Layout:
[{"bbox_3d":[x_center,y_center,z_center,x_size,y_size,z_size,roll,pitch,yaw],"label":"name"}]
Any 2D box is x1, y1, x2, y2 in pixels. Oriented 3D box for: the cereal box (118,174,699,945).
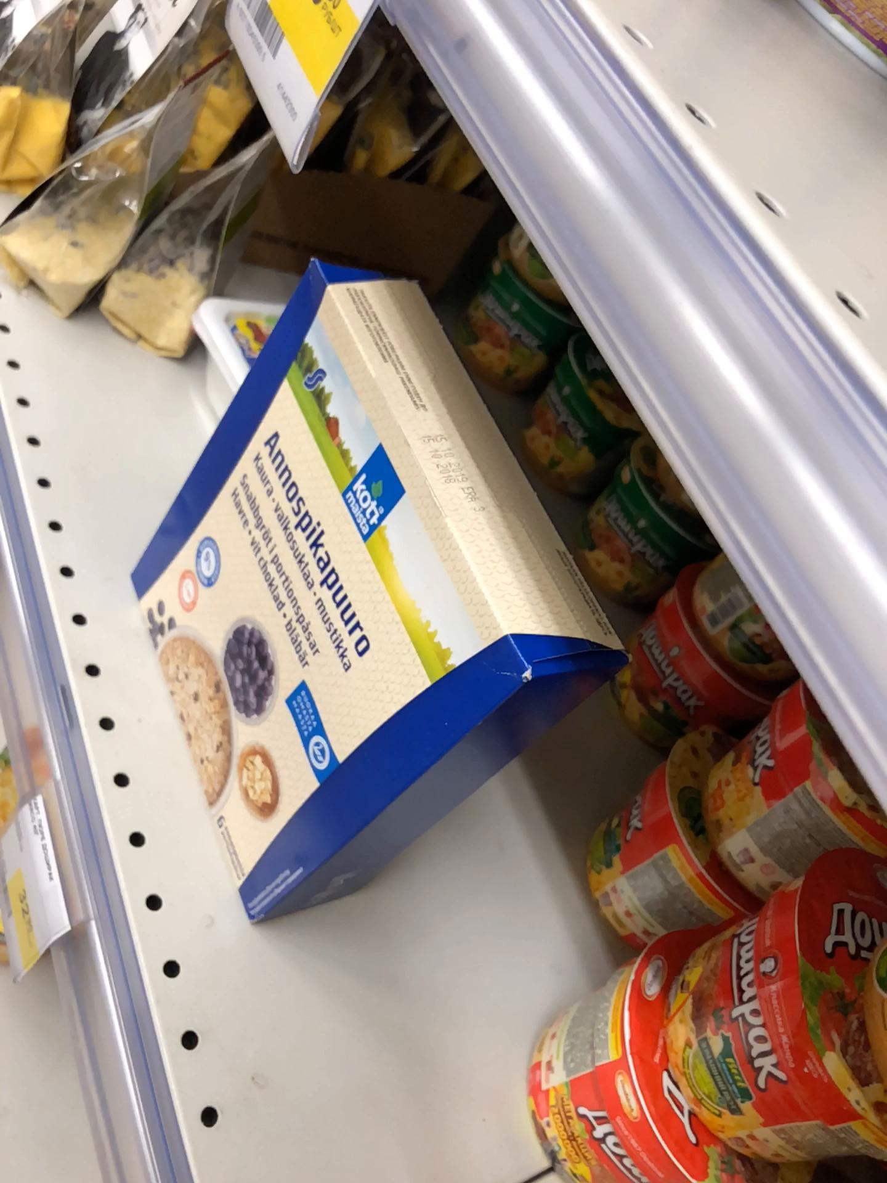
[{"bbox_3d":[-0.034,-0.003,0.328,0.050,0.179,0.170,-3,56,-41],"label":"cereal box"}]
